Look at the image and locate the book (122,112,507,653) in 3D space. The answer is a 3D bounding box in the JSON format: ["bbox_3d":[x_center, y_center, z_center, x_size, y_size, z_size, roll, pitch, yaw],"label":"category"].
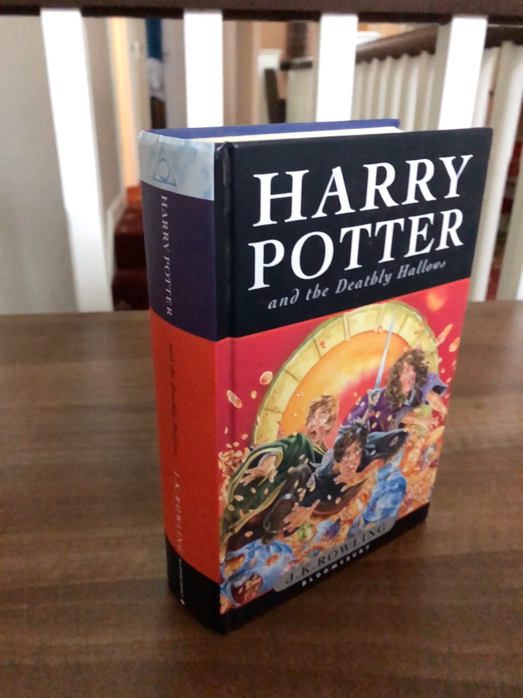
[{"bbox_3d":[0.023,0.007,0.264,0.140,0.209,0.060,-14,28,-32],"label":"book"}]
